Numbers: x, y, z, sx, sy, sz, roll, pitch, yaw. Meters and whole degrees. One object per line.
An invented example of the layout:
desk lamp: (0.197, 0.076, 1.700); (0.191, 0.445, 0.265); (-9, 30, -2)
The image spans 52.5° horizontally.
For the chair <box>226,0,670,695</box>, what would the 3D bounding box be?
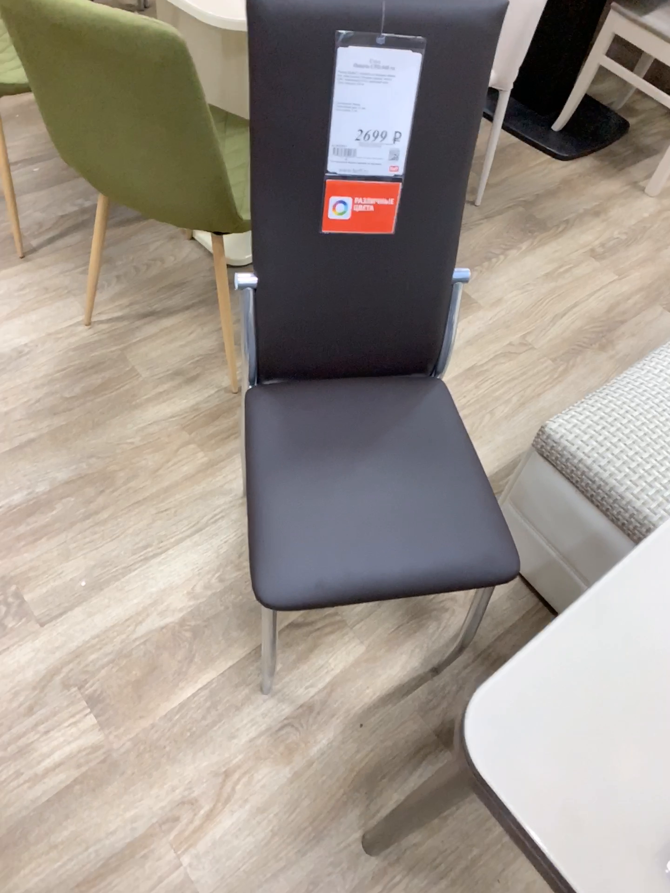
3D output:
chair: (0.067, -0.040, 1.047); (0.420, 0.996, 0.502); (-3, 55, -9)
